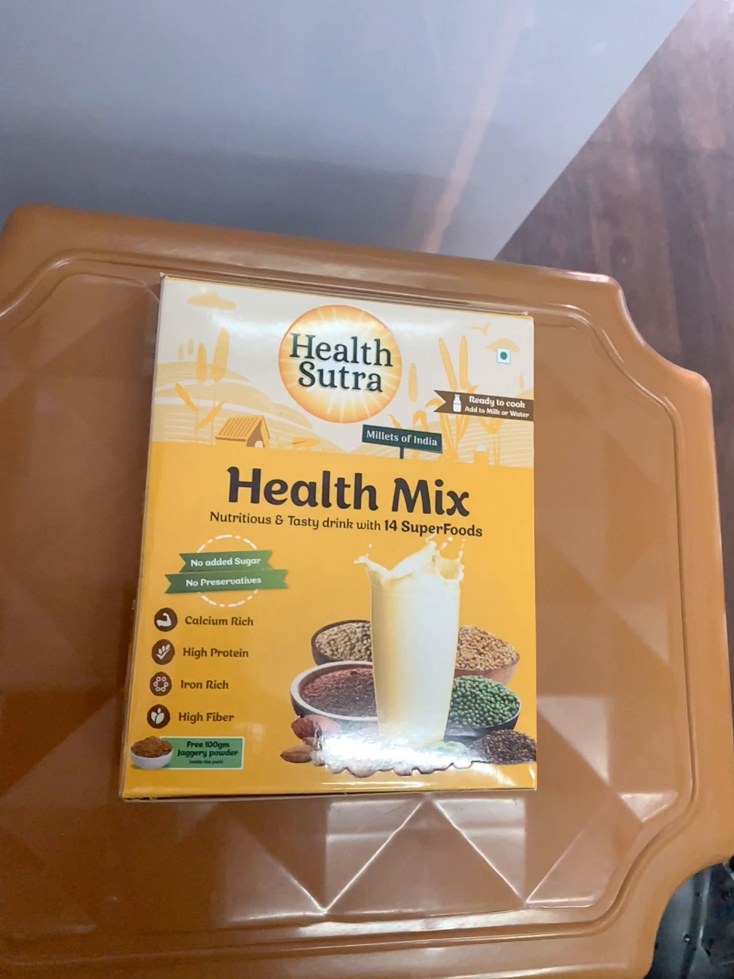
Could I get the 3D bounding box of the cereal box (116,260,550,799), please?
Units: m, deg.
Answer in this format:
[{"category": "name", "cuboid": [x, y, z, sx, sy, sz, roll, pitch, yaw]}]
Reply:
[{"category": "cereal box", "cuboid": [-0.010, 0.014, 0.258, 0.130, 0.040, 0.160, 3, 79, -13]}]
